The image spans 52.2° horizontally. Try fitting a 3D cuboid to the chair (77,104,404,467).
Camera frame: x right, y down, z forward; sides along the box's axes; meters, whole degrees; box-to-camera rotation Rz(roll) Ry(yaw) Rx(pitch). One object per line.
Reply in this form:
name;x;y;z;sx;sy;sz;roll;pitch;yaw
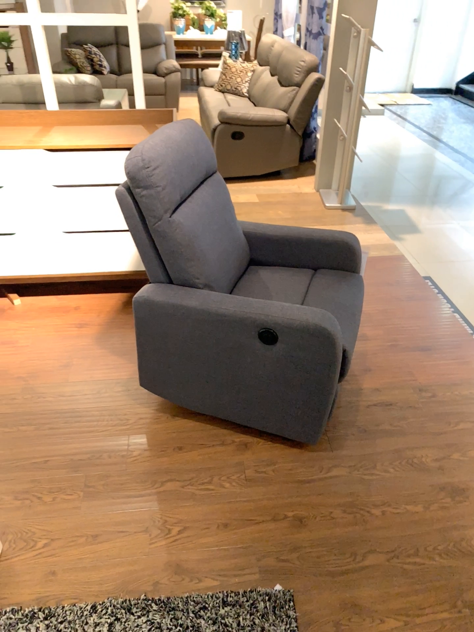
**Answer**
chair;0.097;-0.193;1.907;0.880;0.966;0.934;10;36;13
